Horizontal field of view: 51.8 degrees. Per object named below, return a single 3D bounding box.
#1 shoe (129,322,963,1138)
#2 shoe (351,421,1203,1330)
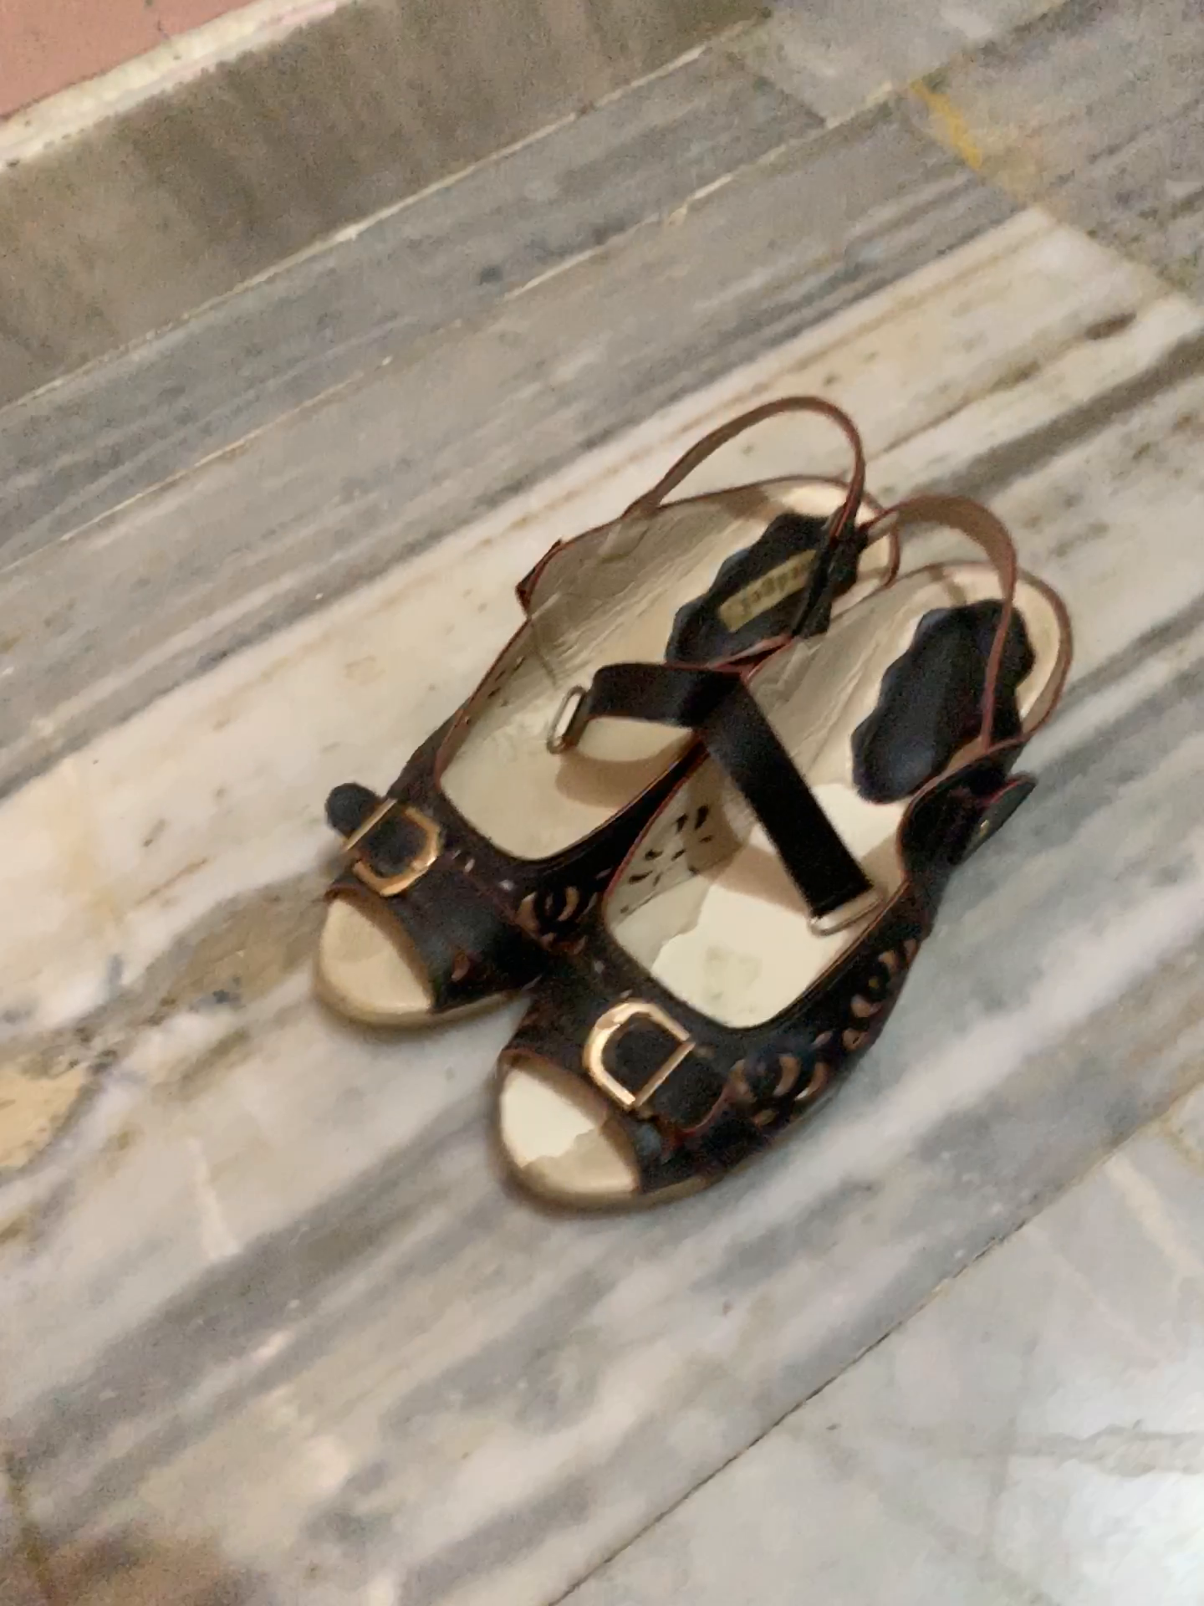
[{"bbox_3d":[-0.005,-0.031,0.418,0.100,0.100,0.260,38,70,26],"label":"shoe"},{"bbox_3d":[0.066,0.015,0.381,0.100,0.100,0.260,38,70,26],"label":"shoe"}]
